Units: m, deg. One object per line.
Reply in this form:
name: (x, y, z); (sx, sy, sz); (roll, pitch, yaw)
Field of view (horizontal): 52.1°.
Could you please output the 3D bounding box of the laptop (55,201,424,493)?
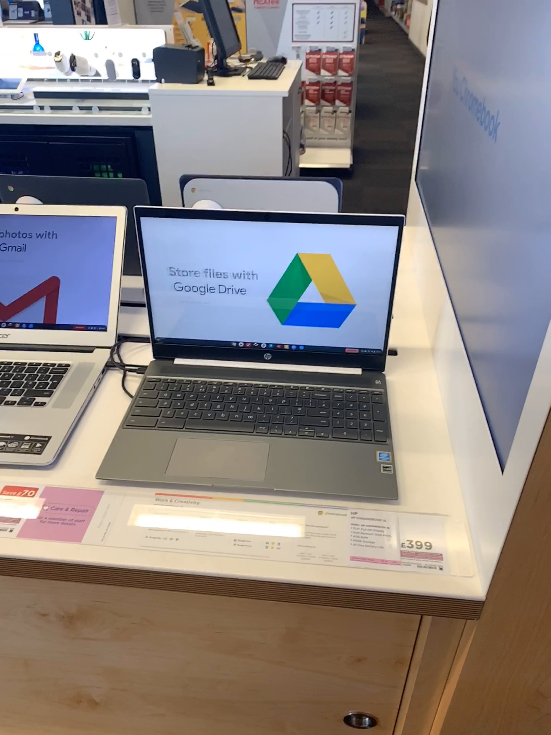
laptop: (-0.026, -0.040, 0.701); (0.351, 0.228, 0.266); (3, 36, 5)
